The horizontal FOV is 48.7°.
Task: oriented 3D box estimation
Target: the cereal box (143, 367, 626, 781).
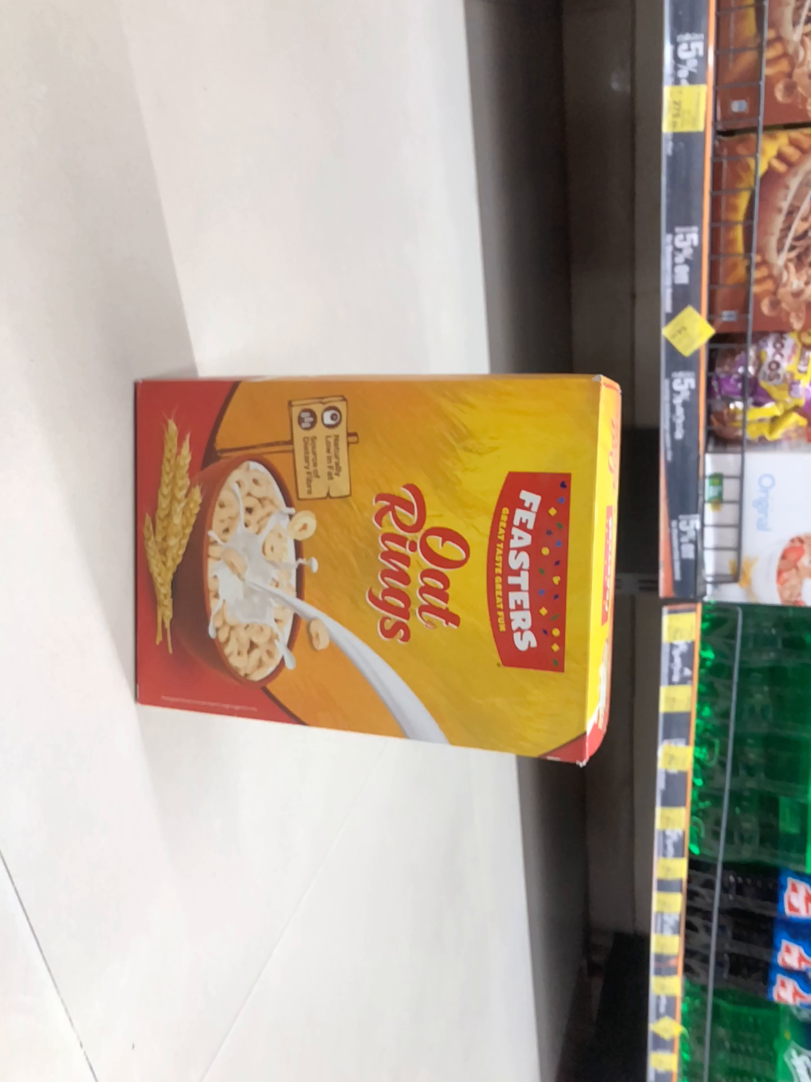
[{"bbox_3d":[-0.012,0.009,0.434,0.070,0.219,0.170,-9,100,-72],"label":"cereal box"}]
